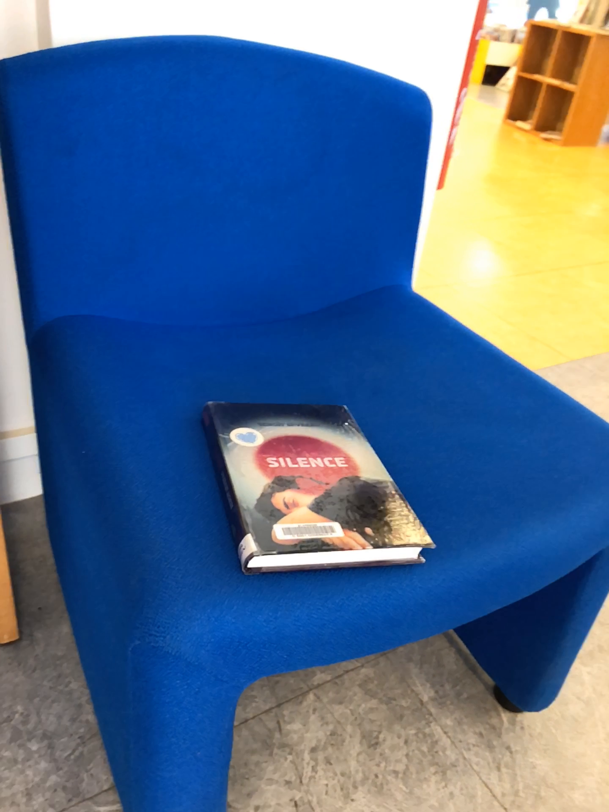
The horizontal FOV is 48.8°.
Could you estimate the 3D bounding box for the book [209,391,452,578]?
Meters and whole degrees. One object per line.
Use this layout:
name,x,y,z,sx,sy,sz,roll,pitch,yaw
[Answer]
book,0.009,0.052,0.554,0.147,0.023,0.212,1,31,-17
